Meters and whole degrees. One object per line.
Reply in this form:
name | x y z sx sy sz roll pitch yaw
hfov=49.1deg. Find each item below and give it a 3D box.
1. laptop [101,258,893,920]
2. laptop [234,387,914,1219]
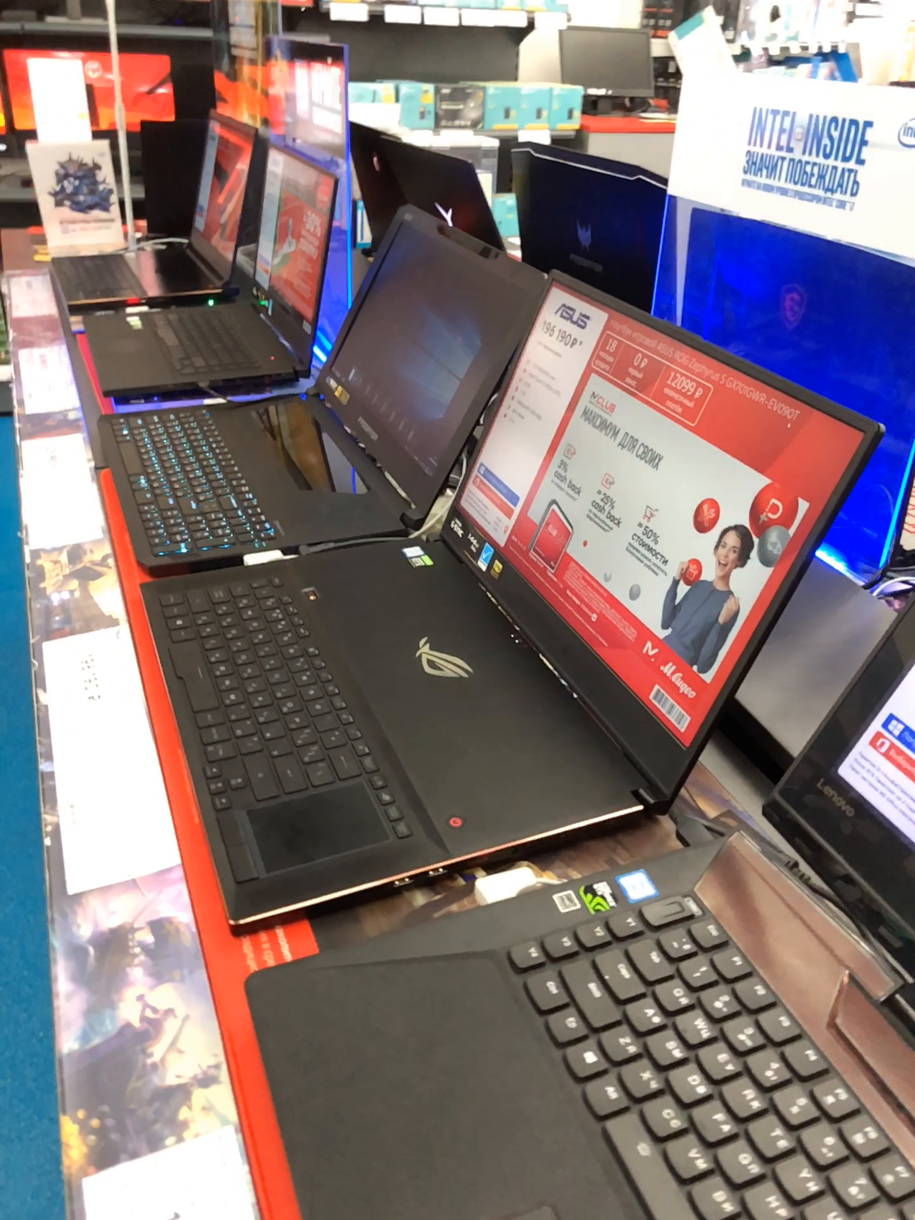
laptop | -0.015 -0.067 0.700 0.377 0.240 0.393 -11 33 -20
laptop | 0.168 0.121 0.324 0.411 0.248 0.376 -10 30 -18
